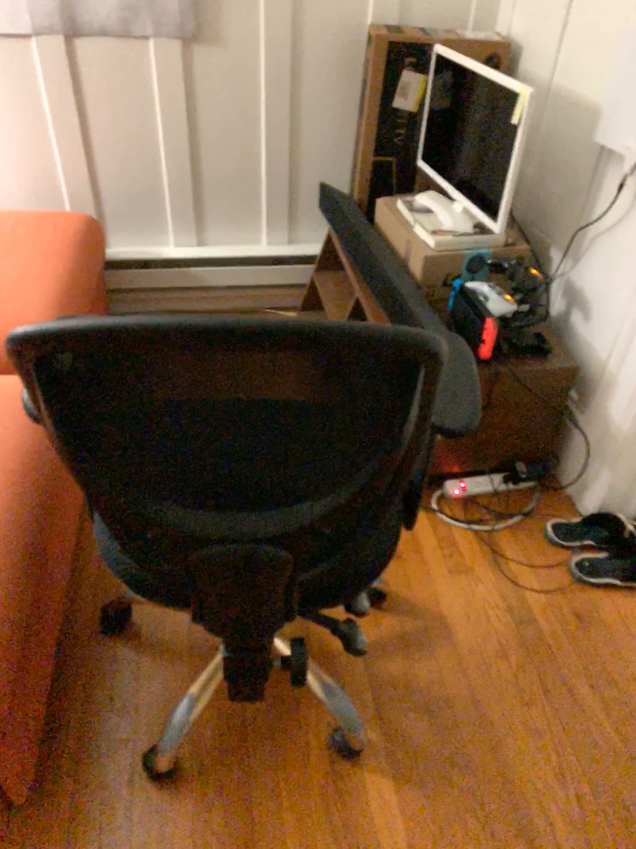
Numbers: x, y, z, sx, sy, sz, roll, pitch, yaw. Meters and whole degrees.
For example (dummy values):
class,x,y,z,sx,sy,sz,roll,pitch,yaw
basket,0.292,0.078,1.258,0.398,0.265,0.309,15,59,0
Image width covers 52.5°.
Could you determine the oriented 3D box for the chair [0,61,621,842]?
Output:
class,x,y,z,sx,sy,sz,roll,pitch,yaw
chair,-0.132,0.101,0.987,0.640,0.974,0.664,4,44,0
